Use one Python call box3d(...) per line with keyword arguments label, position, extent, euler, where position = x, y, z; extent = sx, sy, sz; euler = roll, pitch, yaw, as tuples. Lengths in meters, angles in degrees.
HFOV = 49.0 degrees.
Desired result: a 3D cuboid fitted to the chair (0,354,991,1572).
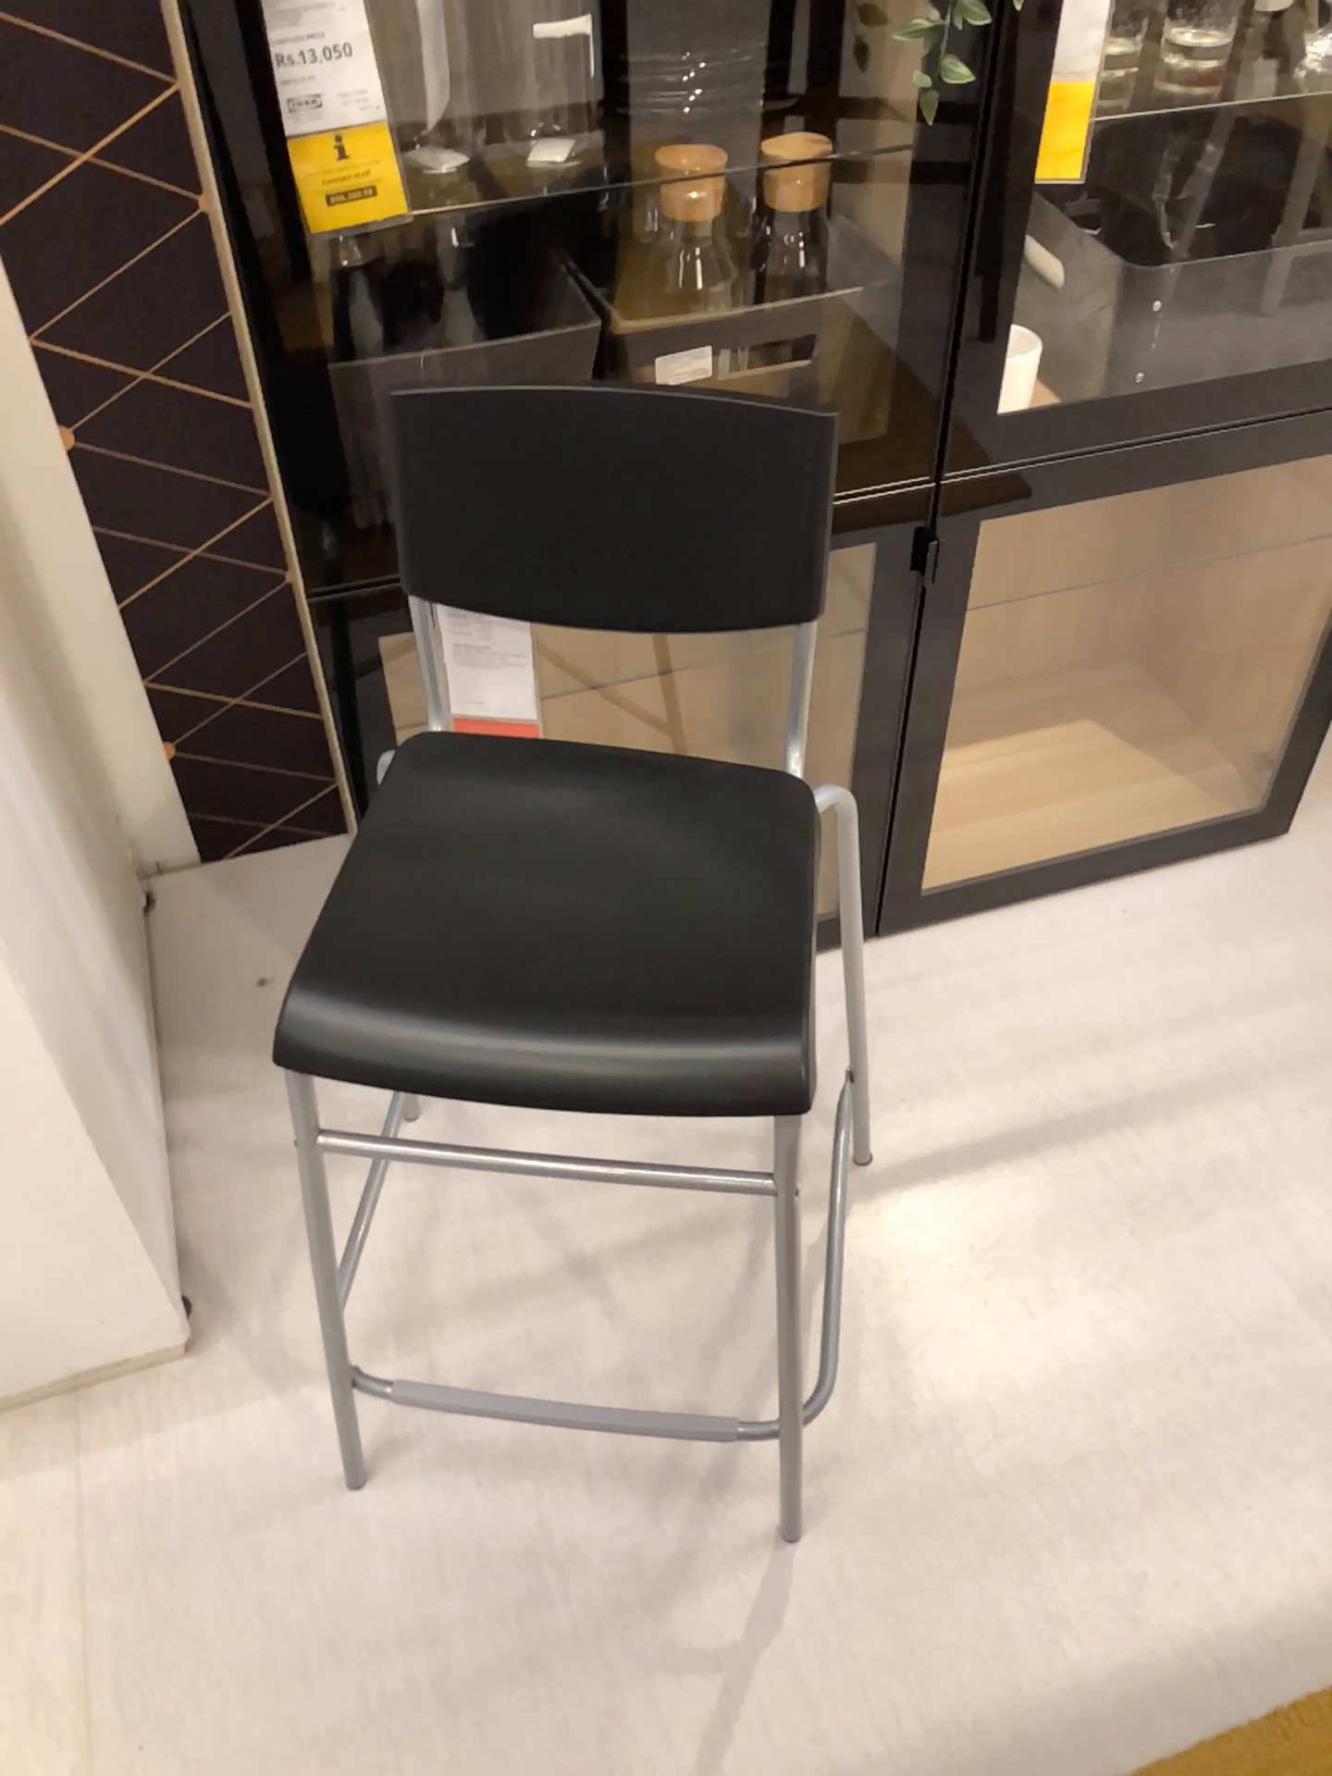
box3d(label="chair", position=(-0.088, 0.087, 1.105), extent=(0.540, 0.765, 0.483), euler=(5, 45, 6))
